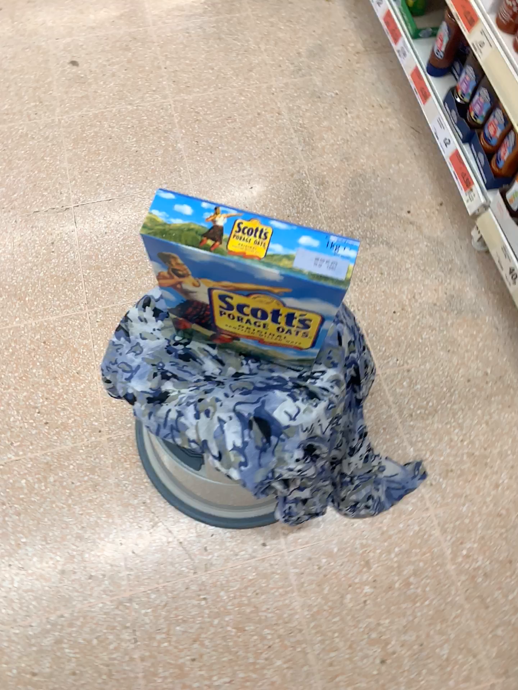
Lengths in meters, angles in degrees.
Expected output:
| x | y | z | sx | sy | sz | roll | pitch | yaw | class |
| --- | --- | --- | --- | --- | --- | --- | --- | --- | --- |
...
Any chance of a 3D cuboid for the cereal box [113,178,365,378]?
| x | y | z | sx | sy | sz | roll | pitch | yaw | class |
| --- | --- | --- | --- | --- | --- | --- | --- | --- | --- |
| -0.019 | -0.054 | 0.575 | 0.210 | 0.249 | 0.060 | 16 | 71 | 4 | cereal box |
